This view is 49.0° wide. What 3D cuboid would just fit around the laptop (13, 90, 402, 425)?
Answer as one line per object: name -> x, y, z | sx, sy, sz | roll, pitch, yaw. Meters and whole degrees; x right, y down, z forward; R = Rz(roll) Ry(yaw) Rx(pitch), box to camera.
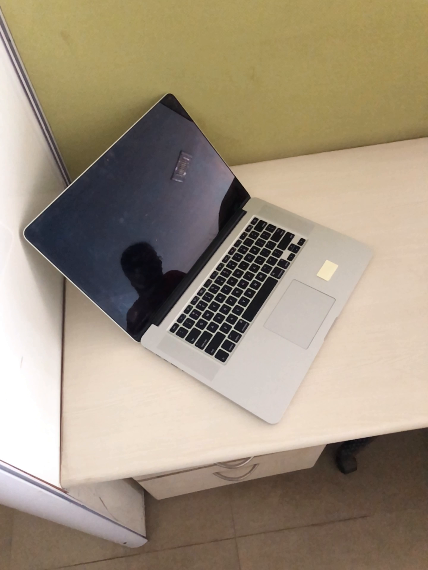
laptop -> 0.003, -0.066, 0.708 | 0.403, 0.163, 0.346 | 28, 63, 18
